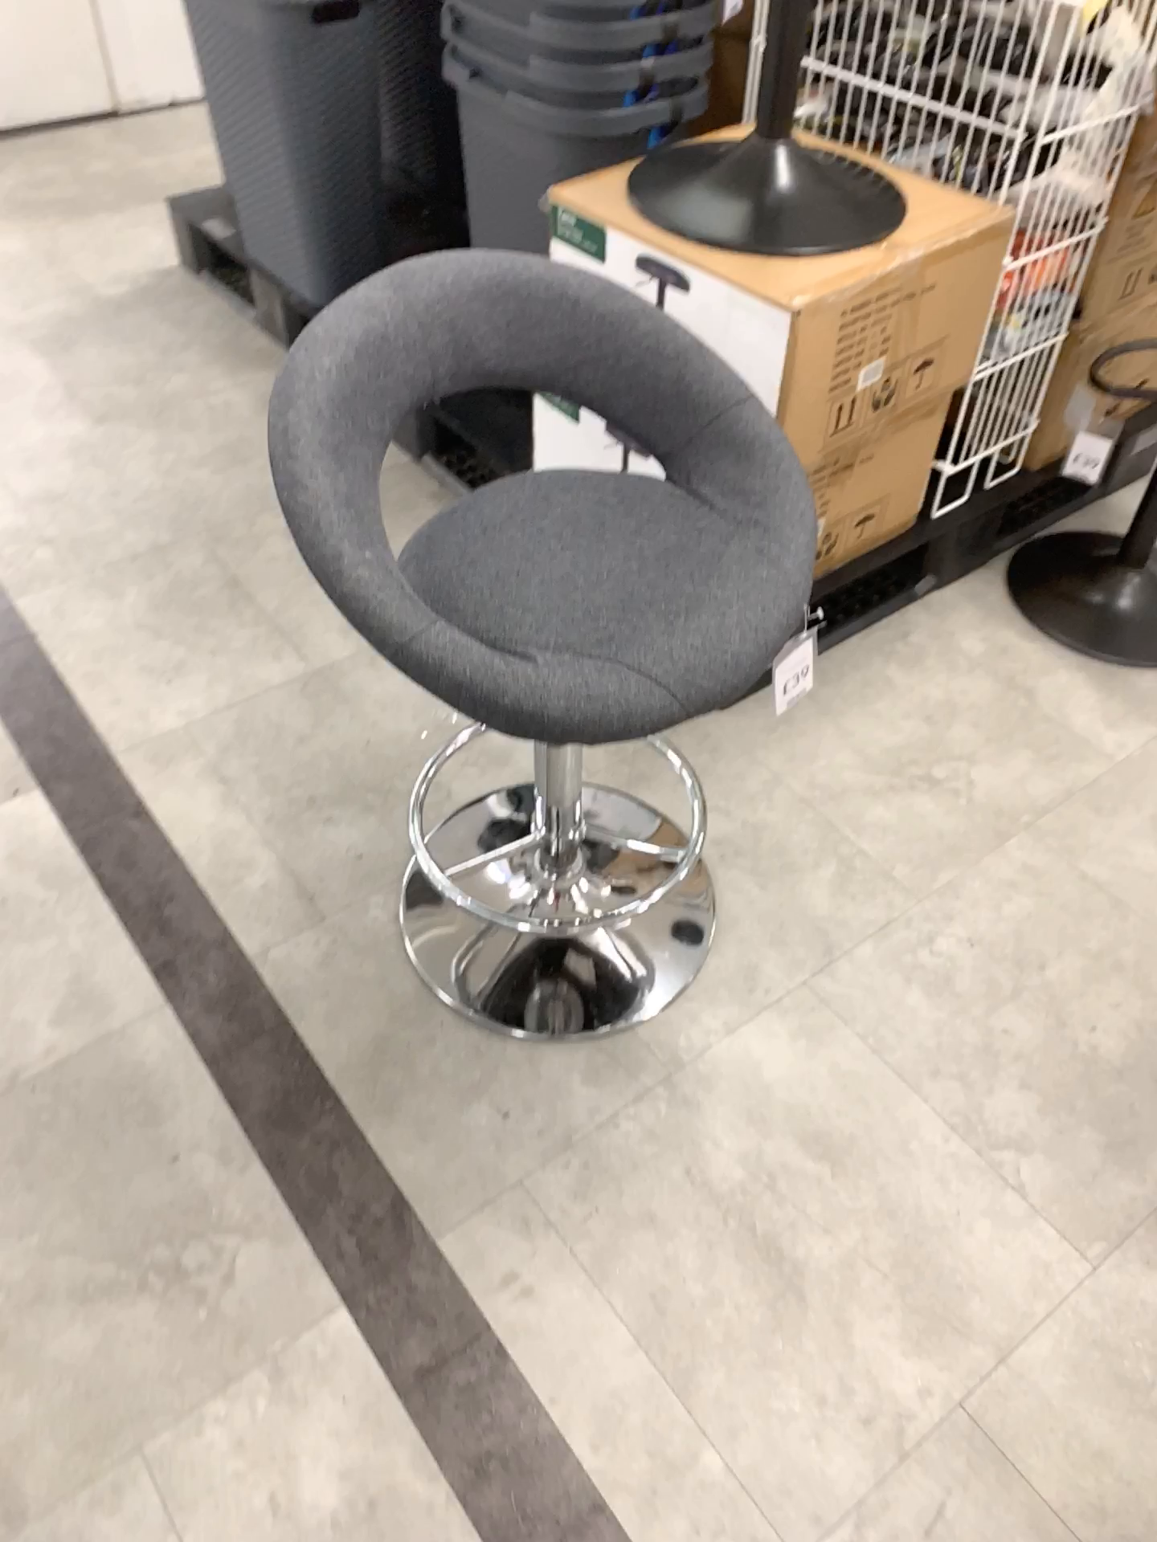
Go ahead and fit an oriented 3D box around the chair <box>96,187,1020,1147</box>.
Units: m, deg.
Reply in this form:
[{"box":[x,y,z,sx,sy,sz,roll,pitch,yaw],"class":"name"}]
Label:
[{"box":[-0.024,-0.134,1.292,0.595,0.664,0.575,36,55,28],"class":"chair"}]
